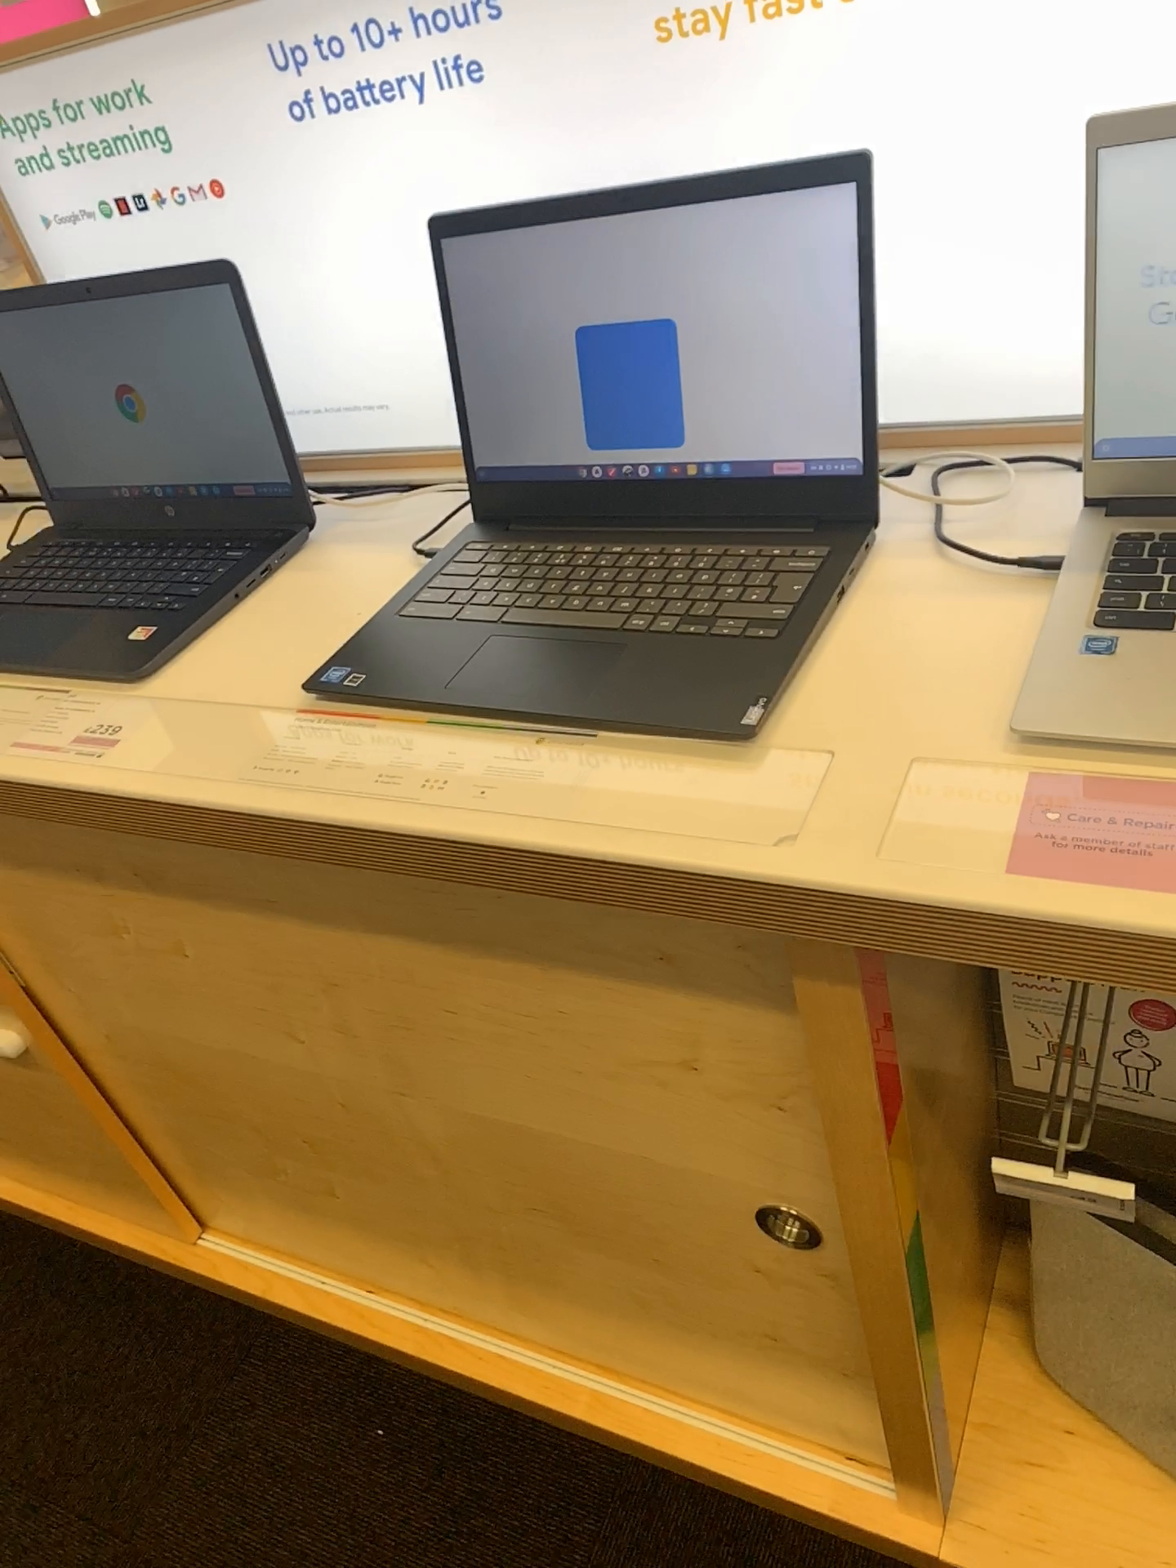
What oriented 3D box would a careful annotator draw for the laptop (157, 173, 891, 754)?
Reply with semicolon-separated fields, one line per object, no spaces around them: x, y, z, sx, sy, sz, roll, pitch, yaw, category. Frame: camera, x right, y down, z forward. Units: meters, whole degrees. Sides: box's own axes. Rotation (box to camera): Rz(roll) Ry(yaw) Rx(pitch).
-0.018;-0.201;0.741;0.316;0.201;0.282;7;43;30;laptop
